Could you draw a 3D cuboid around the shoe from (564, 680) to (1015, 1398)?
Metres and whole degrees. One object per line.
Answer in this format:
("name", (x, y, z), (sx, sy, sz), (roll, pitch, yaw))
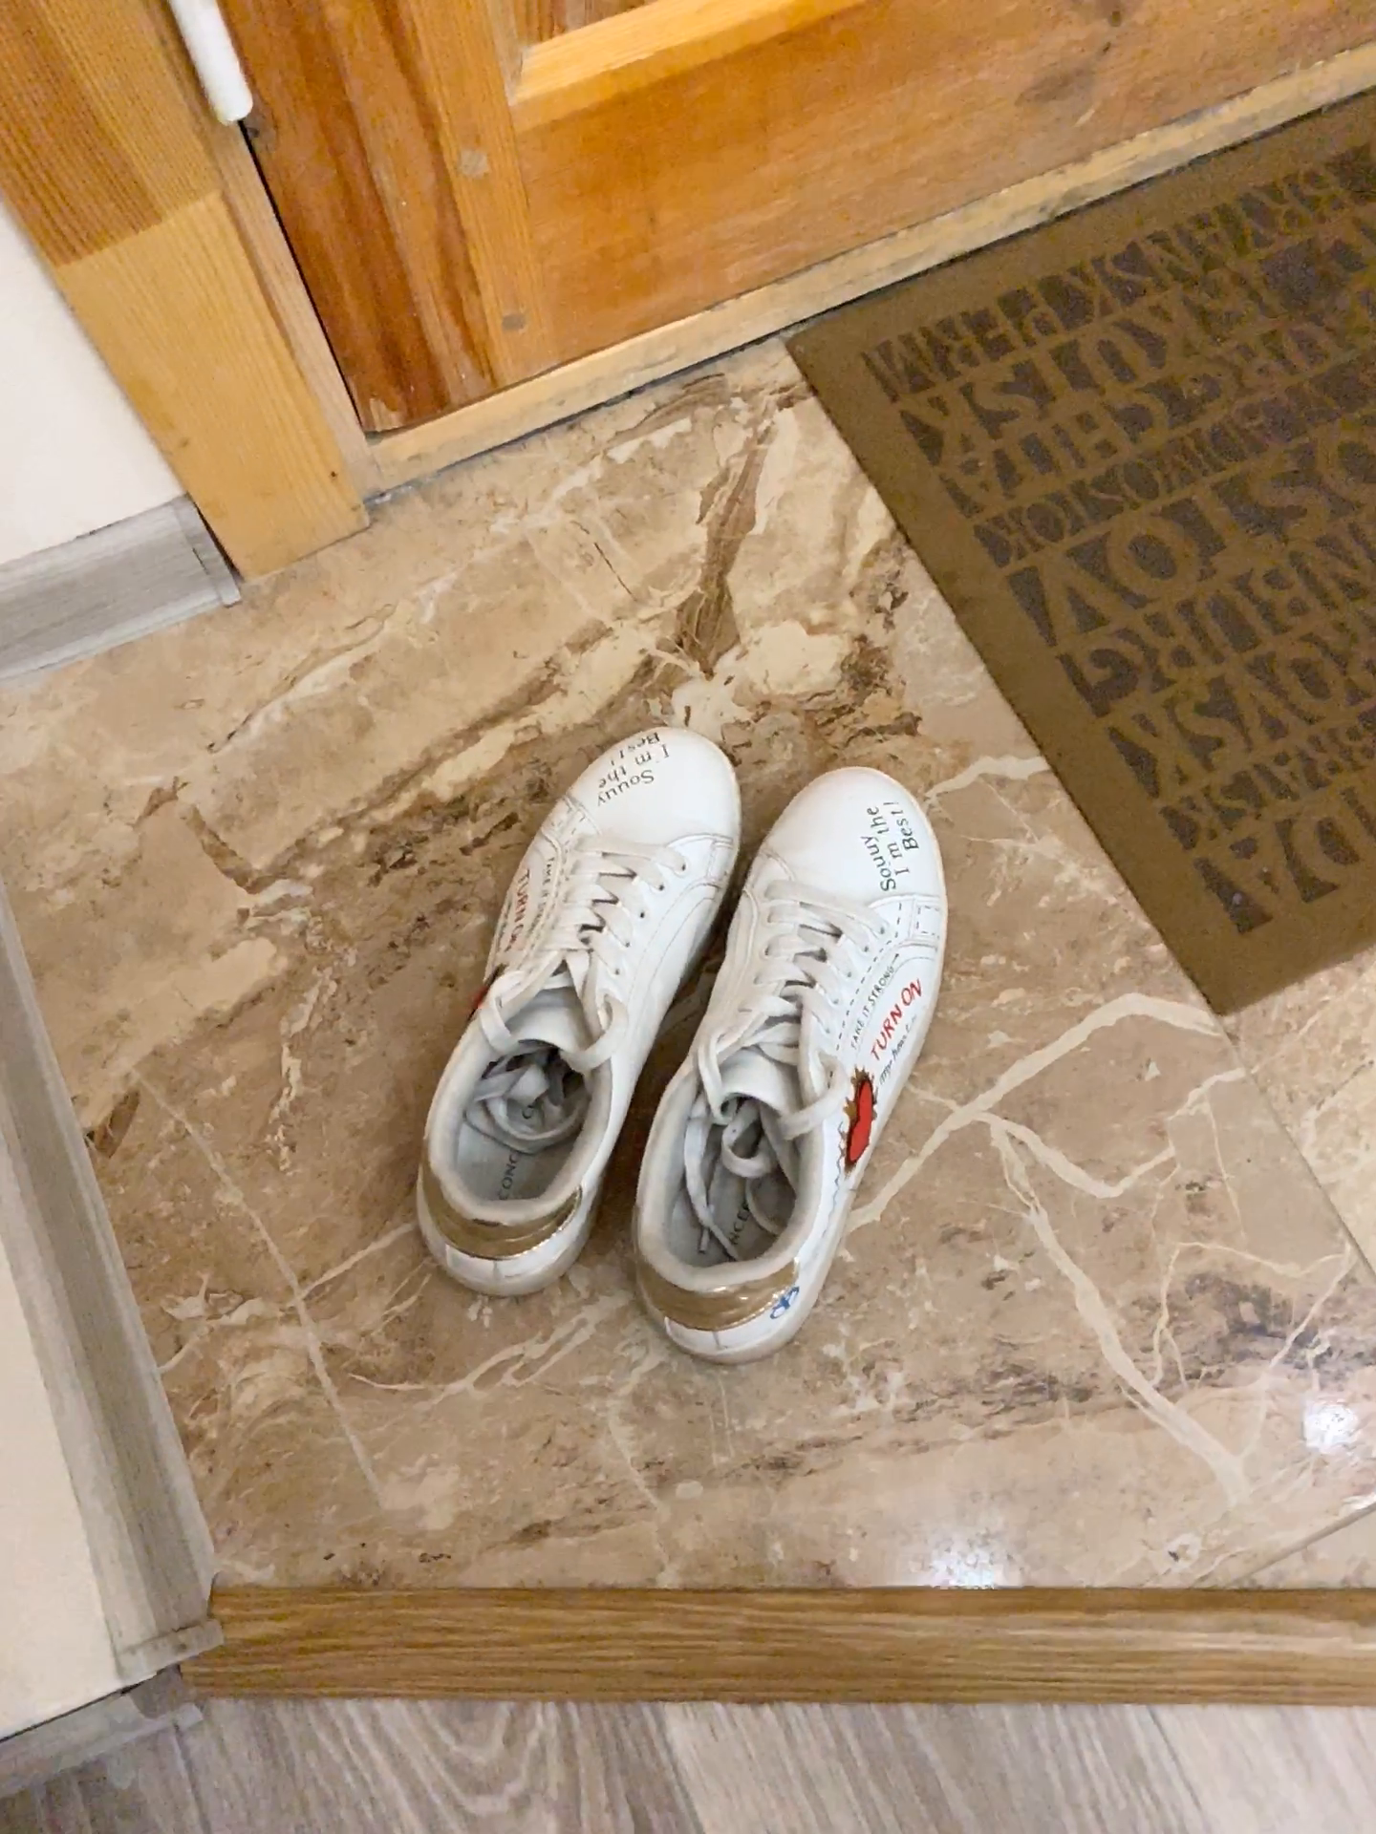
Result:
("shoe", (0.045, 0.046, 0.560), (0.092, 0.080, 0.256), (17, 71, 10))

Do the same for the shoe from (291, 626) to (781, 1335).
("shoe", (-0.049, 0.023, 0.565), (0.092, 0.080, 0.256), (18, 71, 10))
